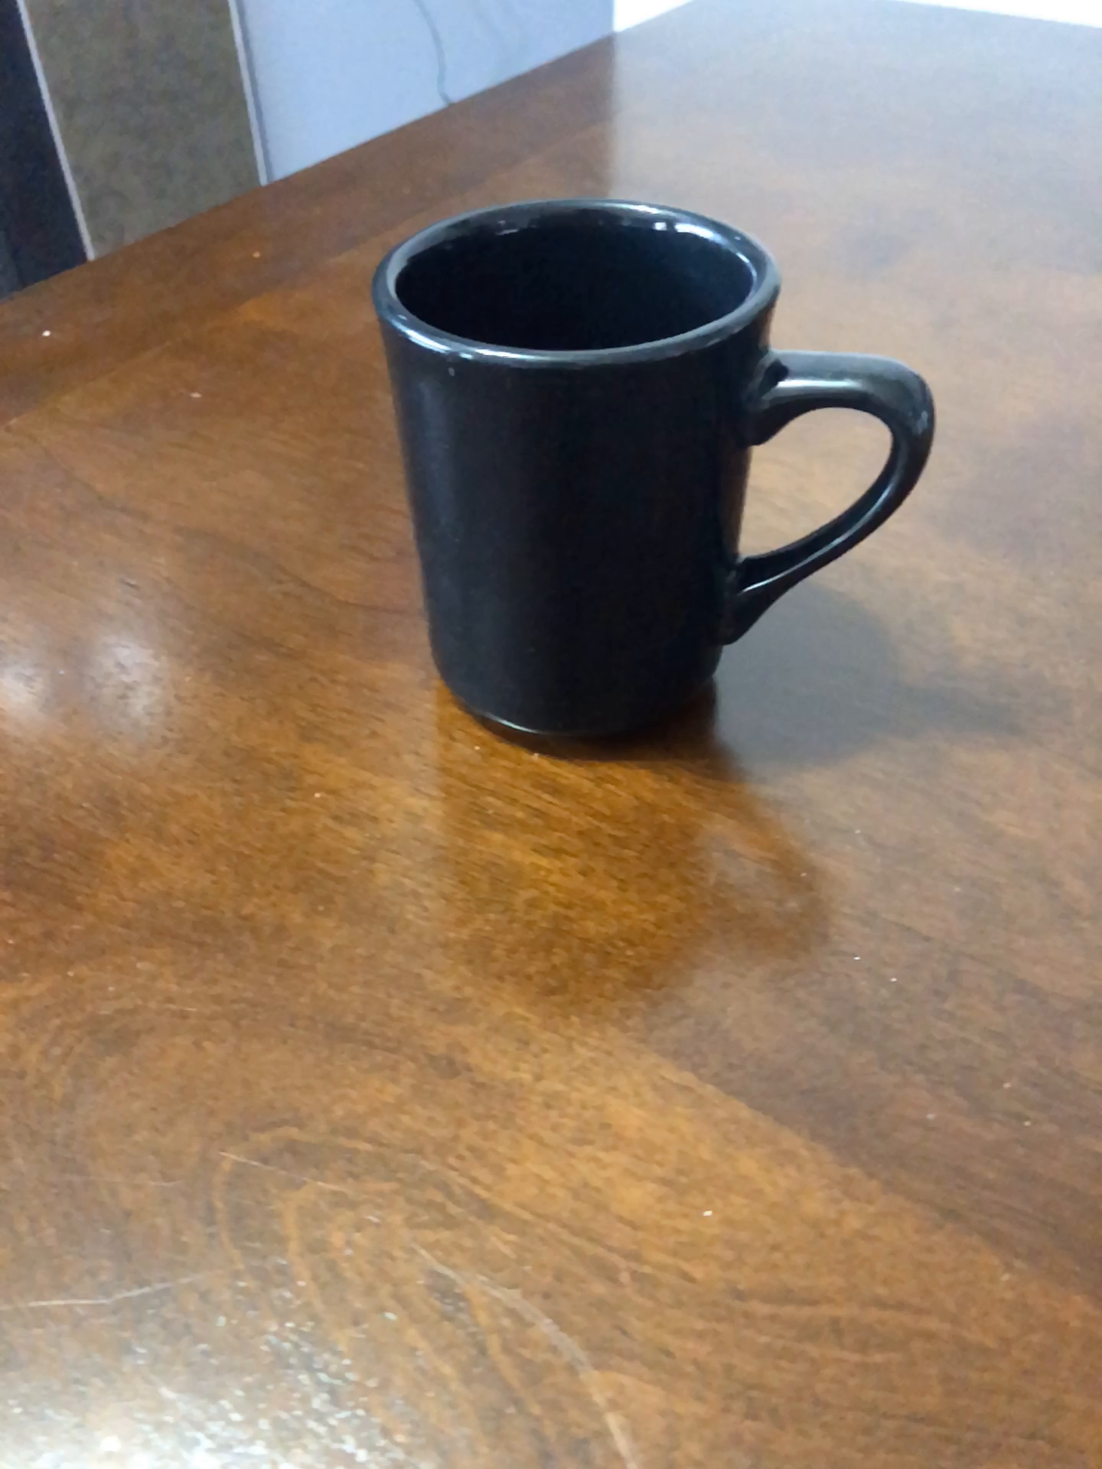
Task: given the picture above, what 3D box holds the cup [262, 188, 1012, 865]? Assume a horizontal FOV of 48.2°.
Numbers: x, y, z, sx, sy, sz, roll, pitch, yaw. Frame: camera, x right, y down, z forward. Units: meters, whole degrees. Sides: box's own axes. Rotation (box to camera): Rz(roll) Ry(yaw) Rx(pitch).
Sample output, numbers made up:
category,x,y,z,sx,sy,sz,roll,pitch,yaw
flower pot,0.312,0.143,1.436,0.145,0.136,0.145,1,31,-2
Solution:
category,x,y,z,sx,sy,sz,roll,pitch,yaw
cup,0.021,-0.050,0.266,0.120,0.090,0.090,15,45,17
